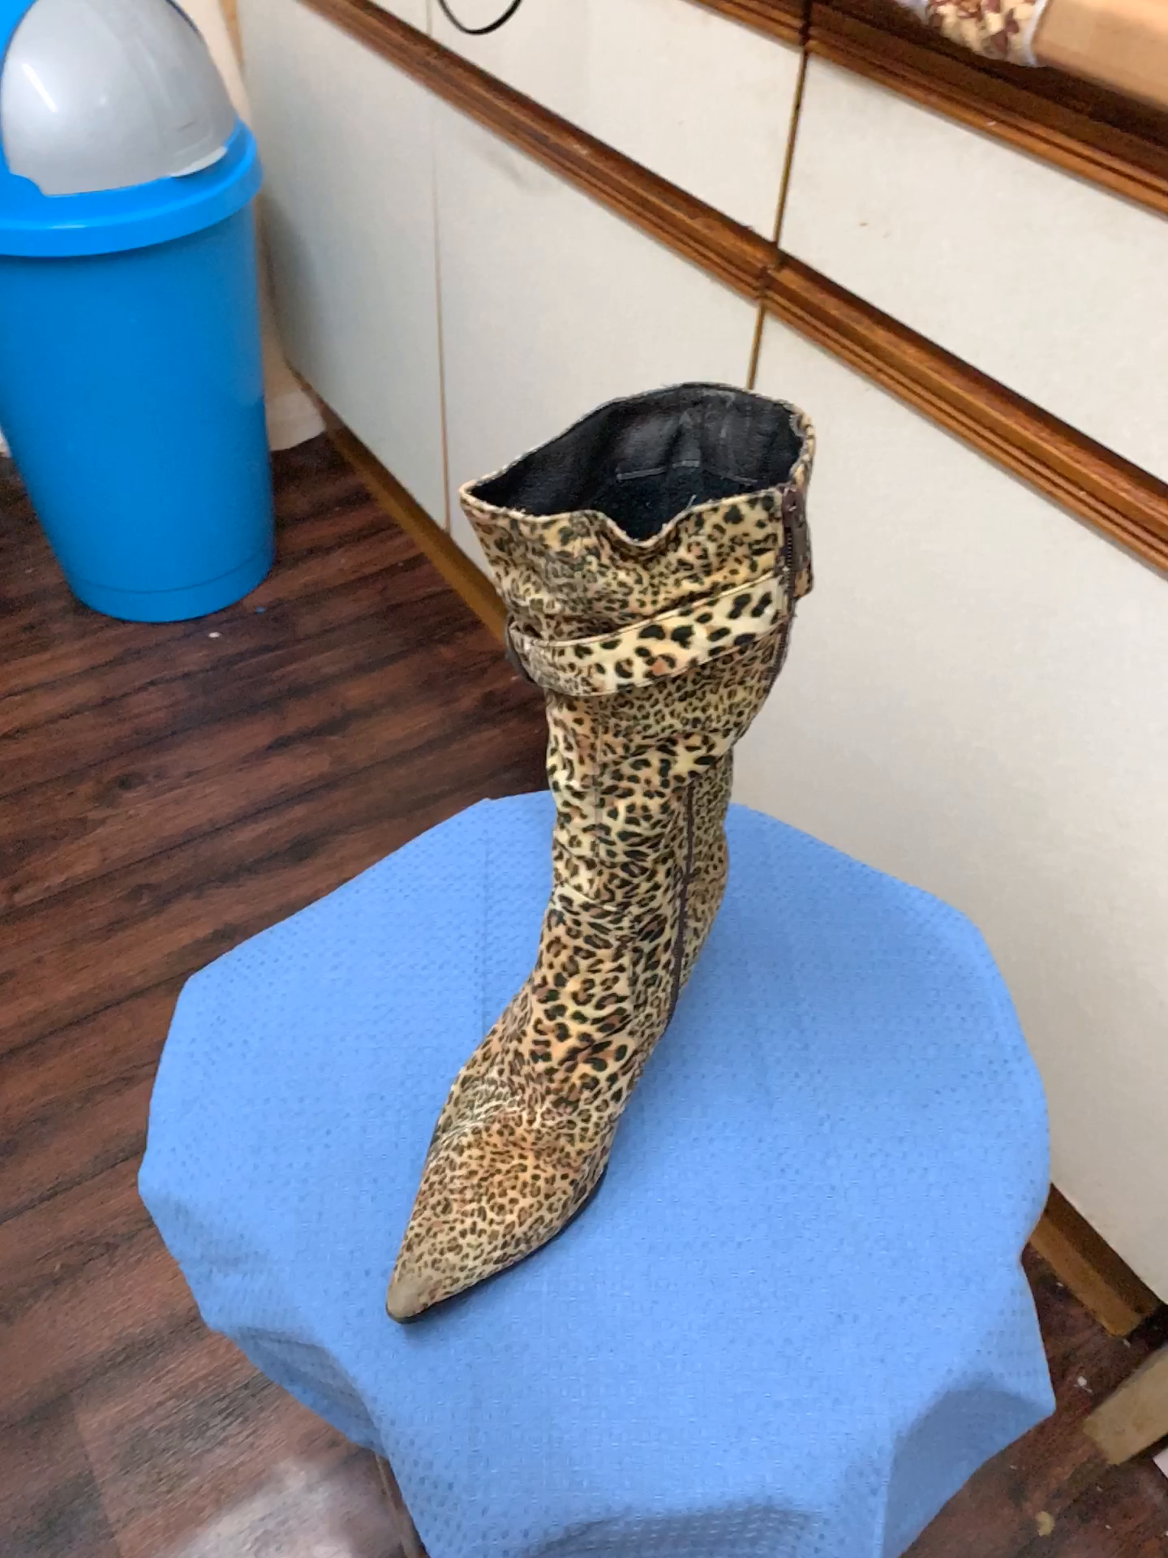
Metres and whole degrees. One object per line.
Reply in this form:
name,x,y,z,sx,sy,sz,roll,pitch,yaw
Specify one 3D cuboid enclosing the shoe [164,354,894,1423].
shoe,-0.005,0.058,0.485,0.100,0.347,0.262,24,50,17
